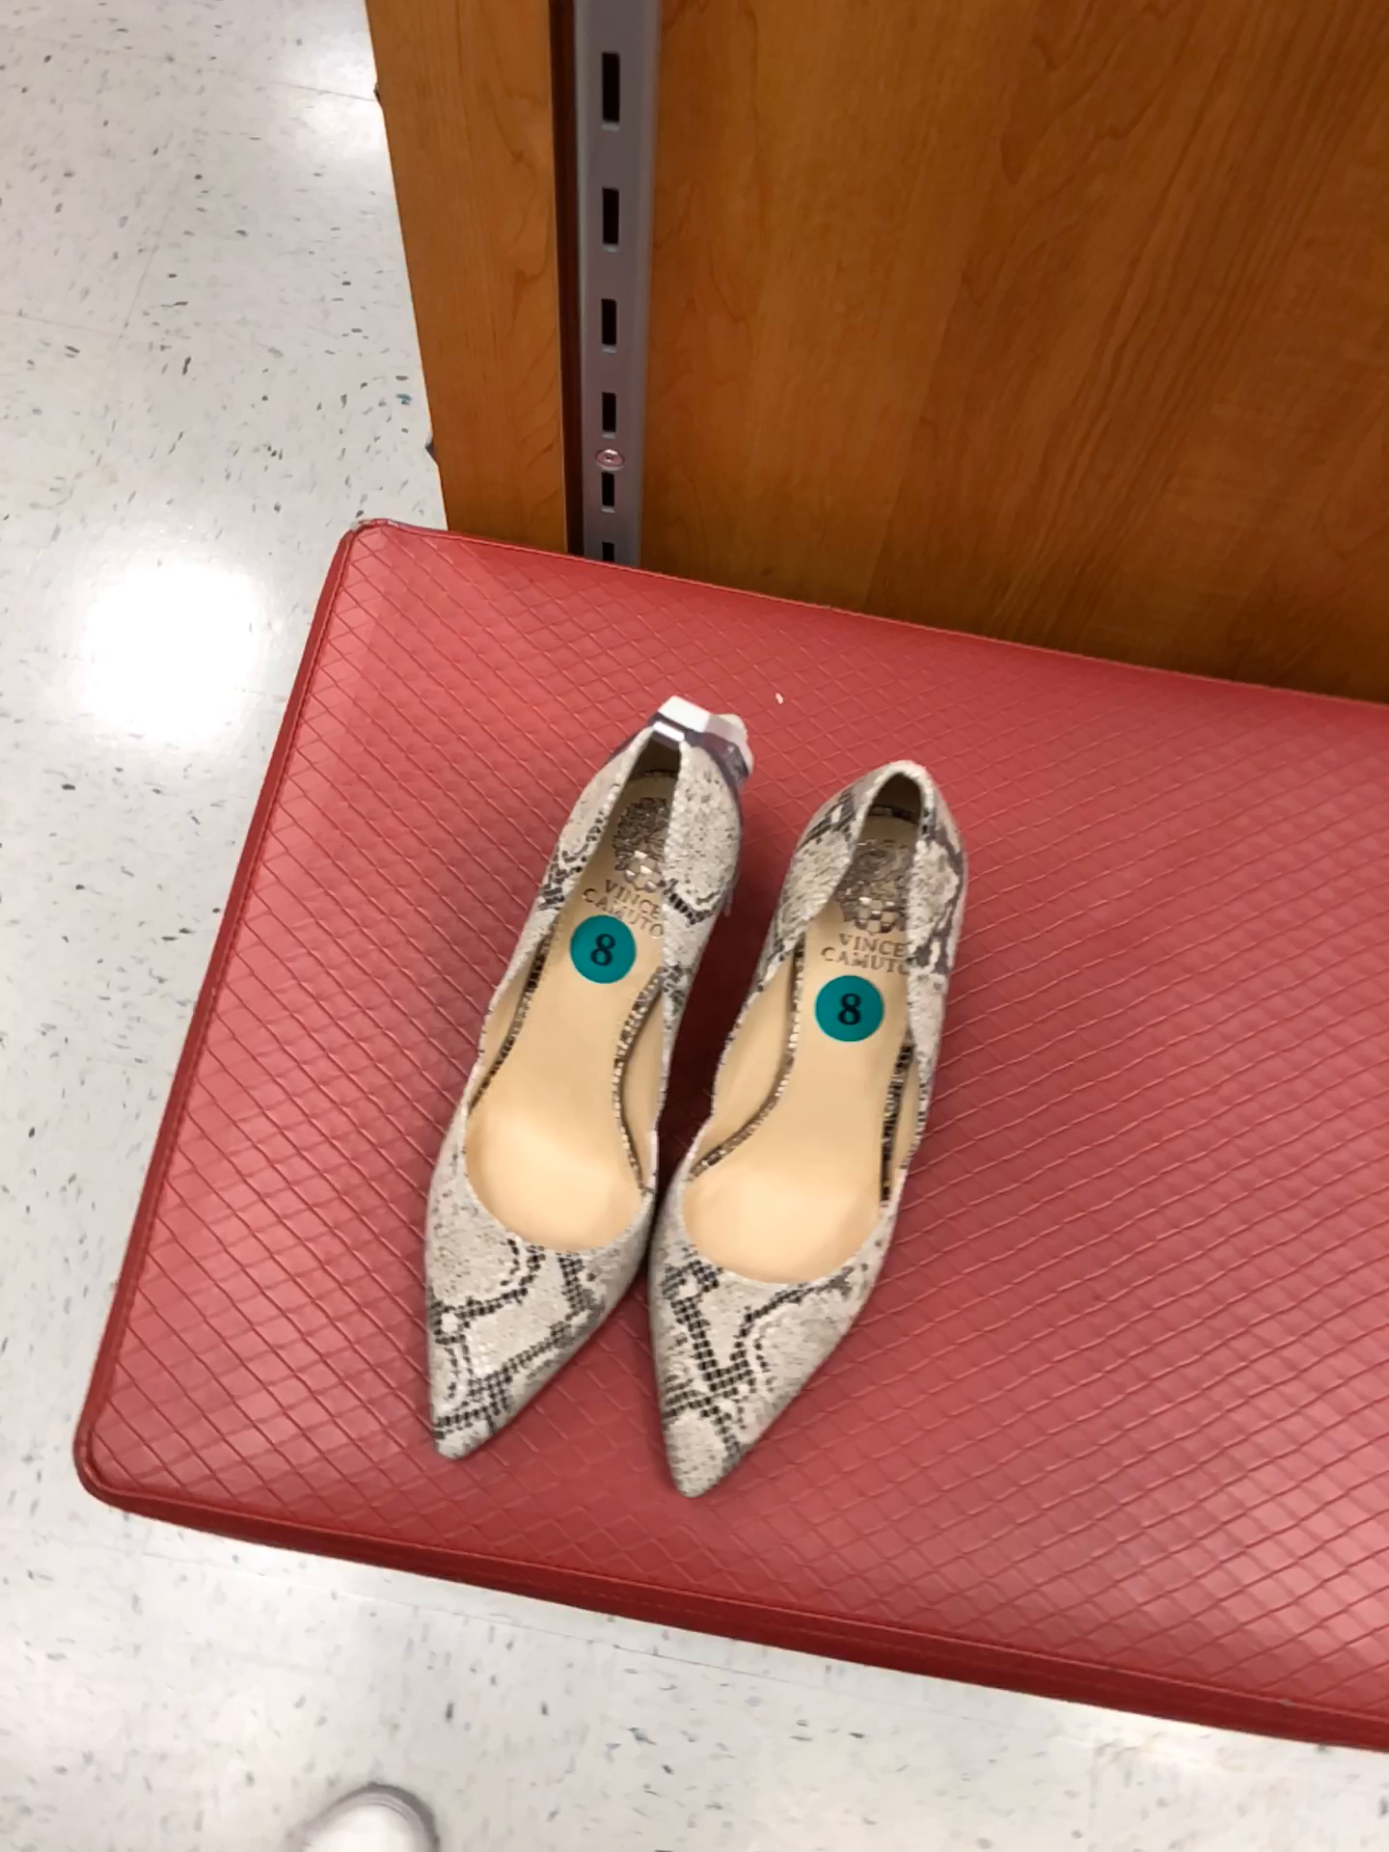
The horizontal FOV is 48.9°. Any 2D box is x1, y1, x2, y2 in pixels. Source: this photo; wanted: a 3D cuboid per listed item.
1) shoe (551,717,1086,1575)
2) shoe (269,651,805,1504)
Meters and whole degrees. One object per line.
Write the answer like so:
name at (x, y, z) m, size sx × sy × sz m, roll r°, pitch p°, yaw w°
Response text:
shoe at (0.044, 0.074, 0.532) m, size 0.093 × 0.102 × 0.259 m, roll 20°, pitch 69°, yaw 4°
shoe at (-0.045, 0.054, 0.534) m, size 0.092 × 0.112 × 0.262 m, roll 16°, pitch 69°, yaw 3°
